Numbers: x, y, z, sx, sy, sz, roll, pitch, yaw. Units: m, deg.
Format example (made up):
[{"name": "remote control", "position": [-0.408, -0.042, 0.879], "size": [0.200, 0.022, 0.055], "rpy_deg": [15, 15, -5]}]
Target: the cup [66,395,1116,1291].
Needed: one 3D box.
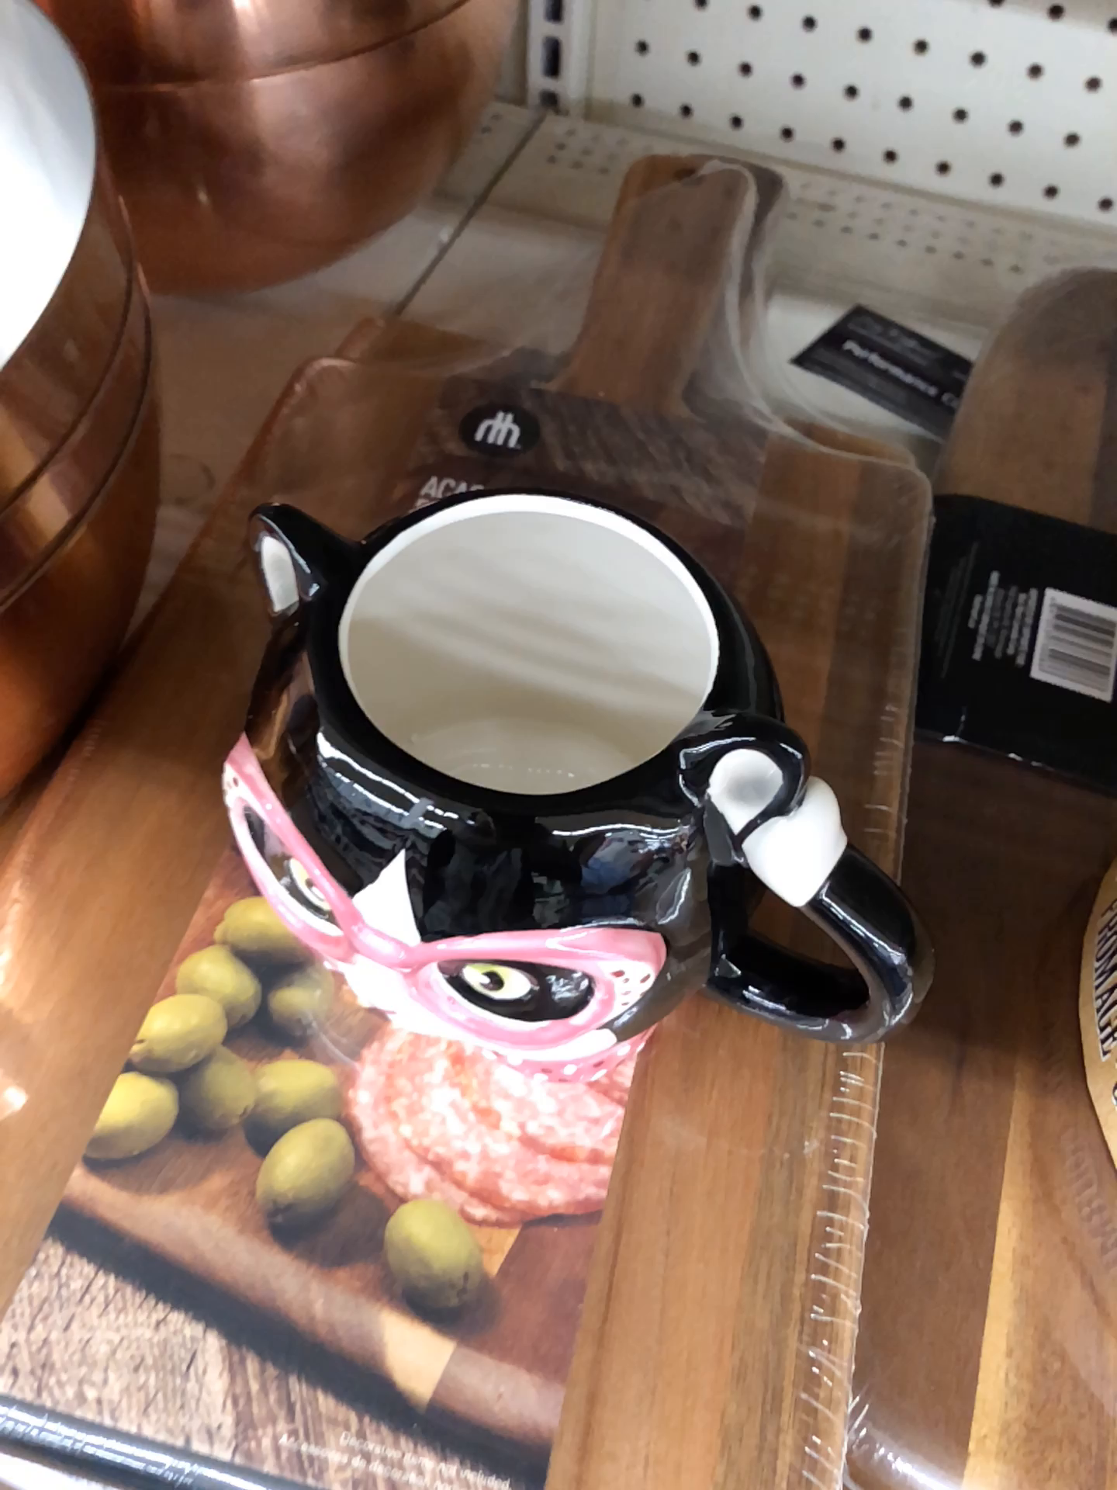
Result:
[{"name": "cup", "position": [0.006, 0.016, 0.232], "size": [0.150, 0.080, 0.080], "rpy_deg": [25, 57, 14]}]
